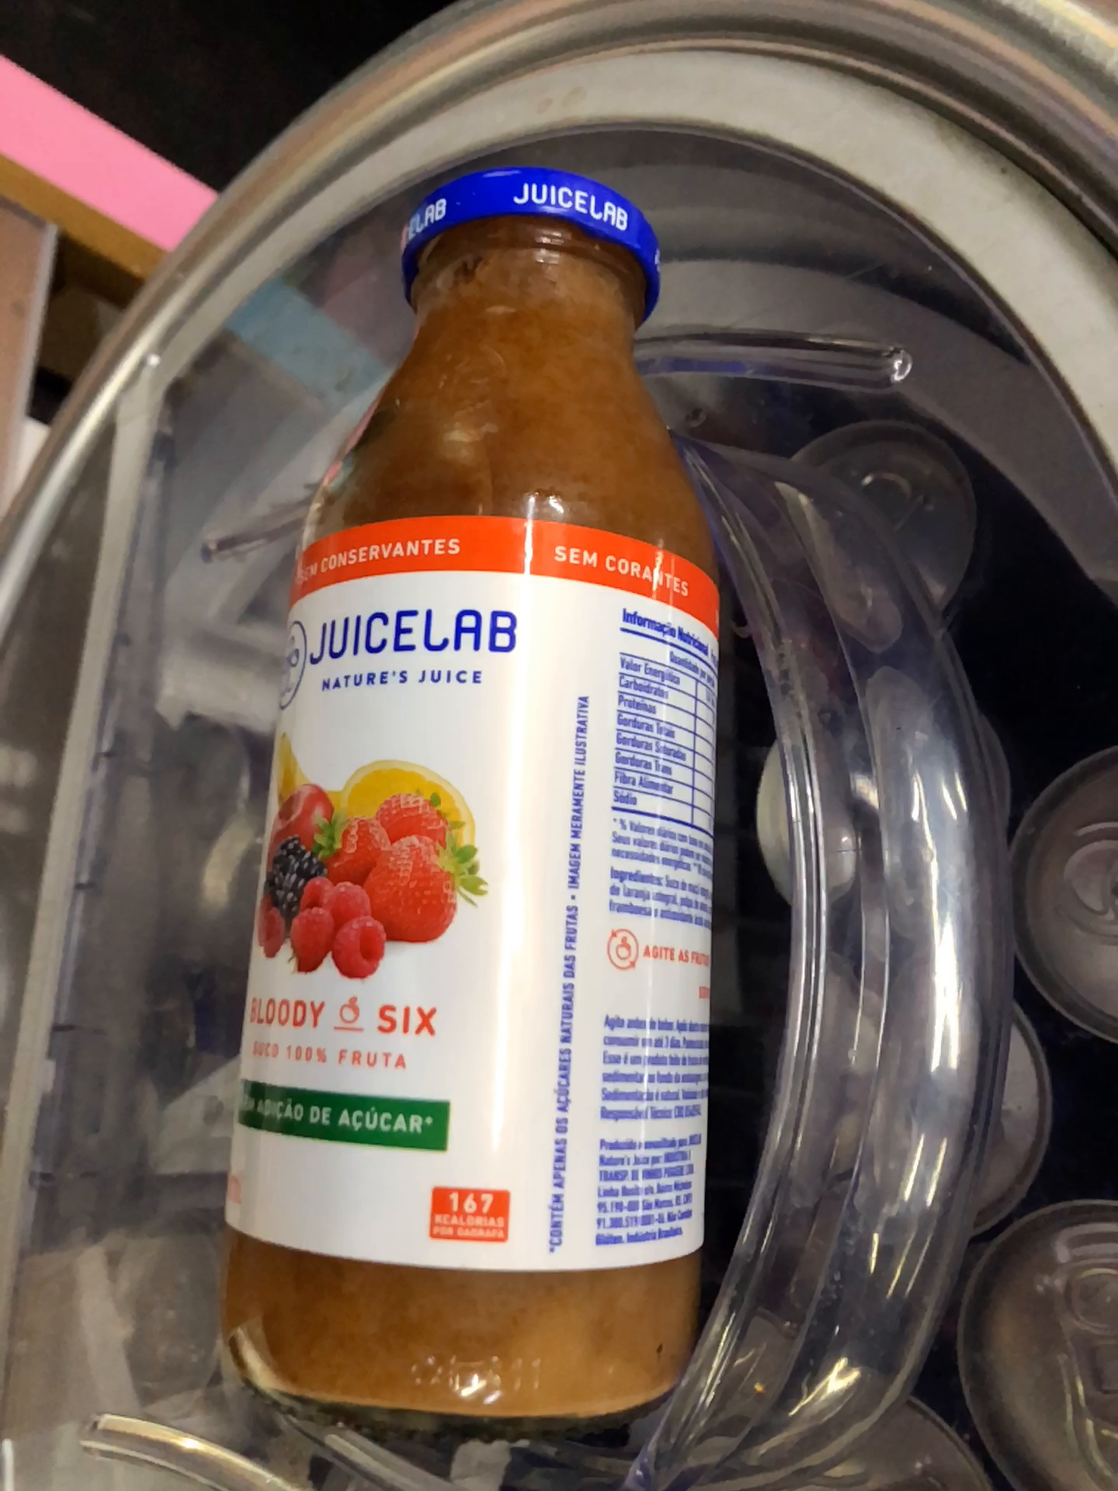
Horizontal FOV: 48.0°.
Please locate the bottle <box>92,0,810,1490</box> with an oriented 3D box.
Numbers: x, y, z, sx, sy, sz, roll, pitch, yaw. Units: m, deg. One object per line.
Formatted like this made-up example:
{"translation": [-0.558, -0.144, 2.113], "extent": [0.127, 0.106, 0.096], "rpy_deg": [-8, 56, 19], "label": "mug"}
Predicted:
{"translation": [-0.007, -0.009, 0.190], "extent": [0.070, 0.060, 0.190], "rpy_deg": [-4, 74, 28], "label": "bottle"}
